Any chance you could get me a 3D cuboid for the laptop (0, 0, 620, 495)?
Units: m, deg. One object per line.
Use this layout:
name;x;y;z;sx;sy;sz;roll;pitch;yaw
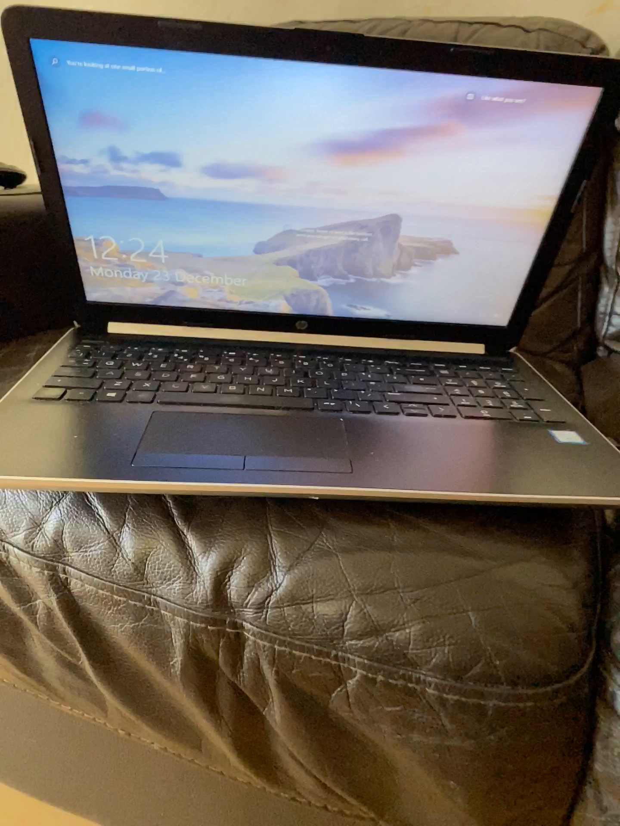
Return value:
laptop;-0.003;-0.111;0.395;0.371;0.211;0.238;2;23;-3
